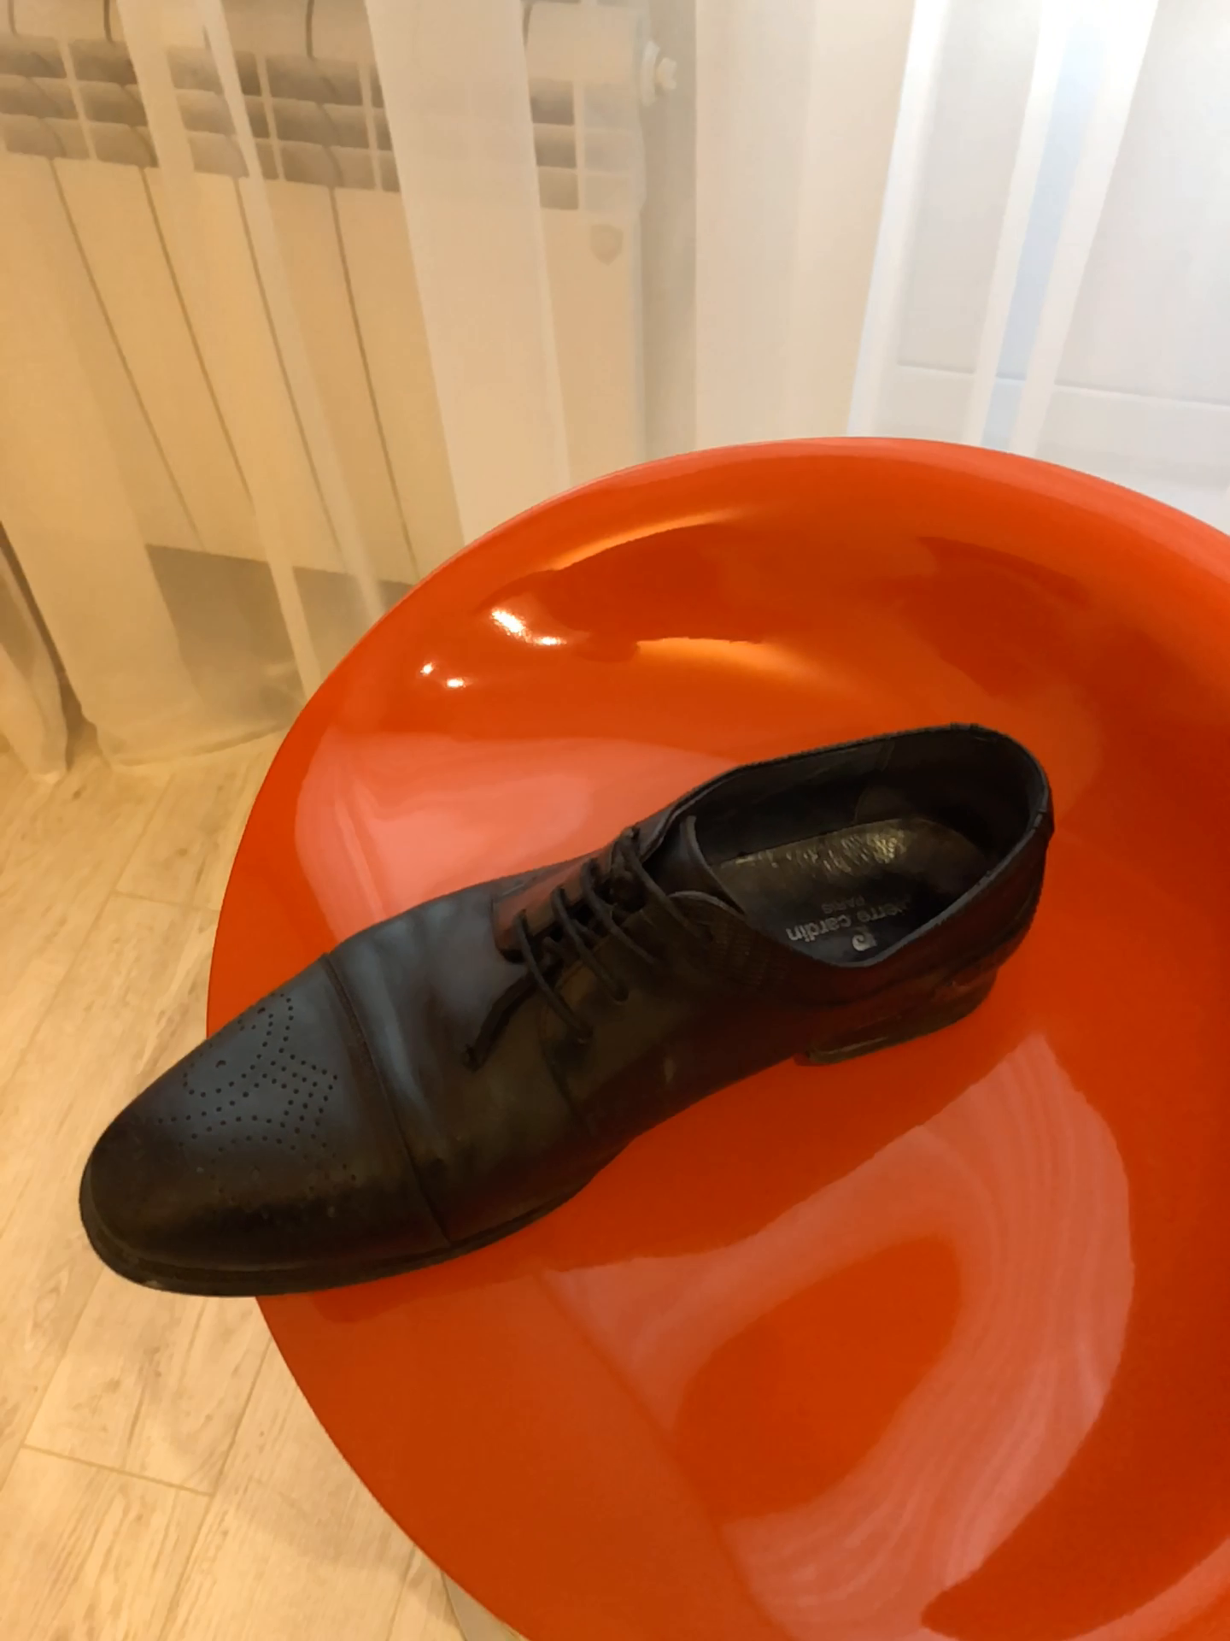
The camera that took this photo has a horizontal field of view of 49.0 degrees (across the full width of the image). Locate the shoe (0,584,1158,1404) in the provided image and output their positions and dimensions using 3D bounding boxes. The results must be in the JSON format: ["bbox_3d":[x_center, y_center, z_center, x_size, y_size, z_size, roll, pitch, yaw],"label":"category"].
[{"bbox_3d":[-0.013,0.041,0.398,0.300,0.079,0.121,-19,54,-12],"label":"shoe"}]
